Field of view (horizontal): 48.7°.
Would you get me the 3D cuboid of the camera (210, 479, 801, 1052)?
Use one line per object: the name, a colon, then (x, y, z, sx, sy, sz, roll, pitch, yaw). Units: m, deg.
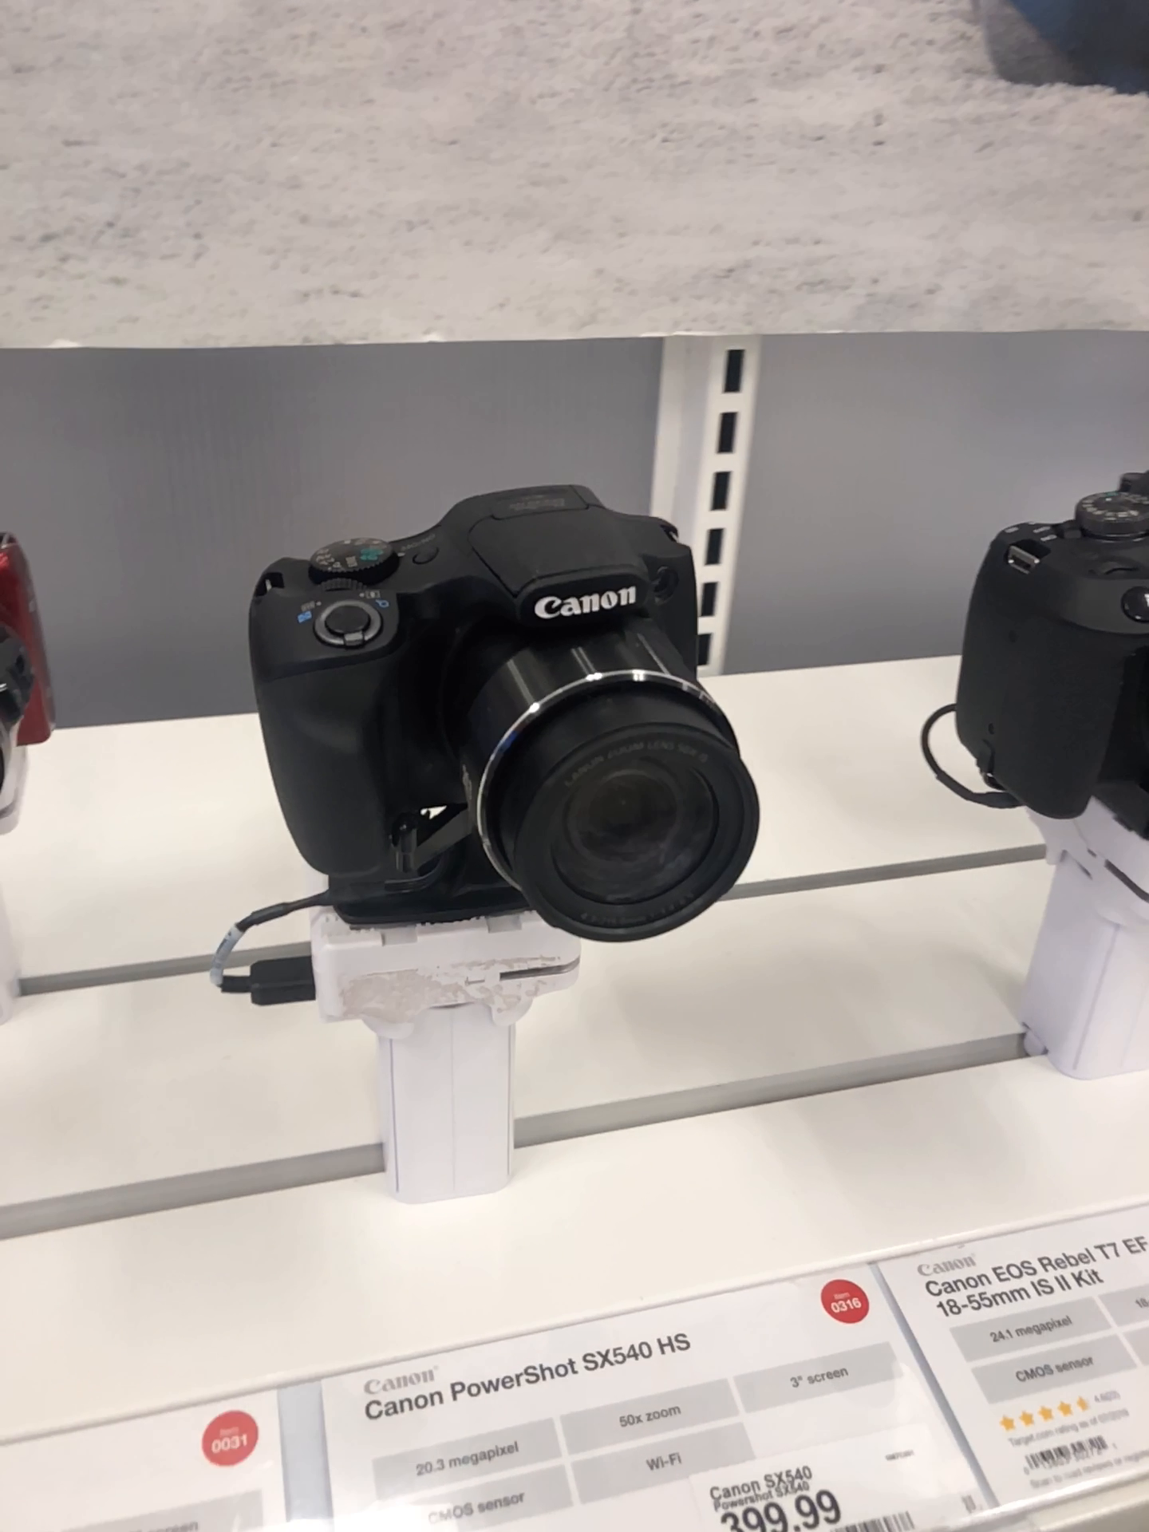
camera: (-0.022, -0.008, 0.283, 0.100, 0.076, 0.099, -8, 33, -17)
